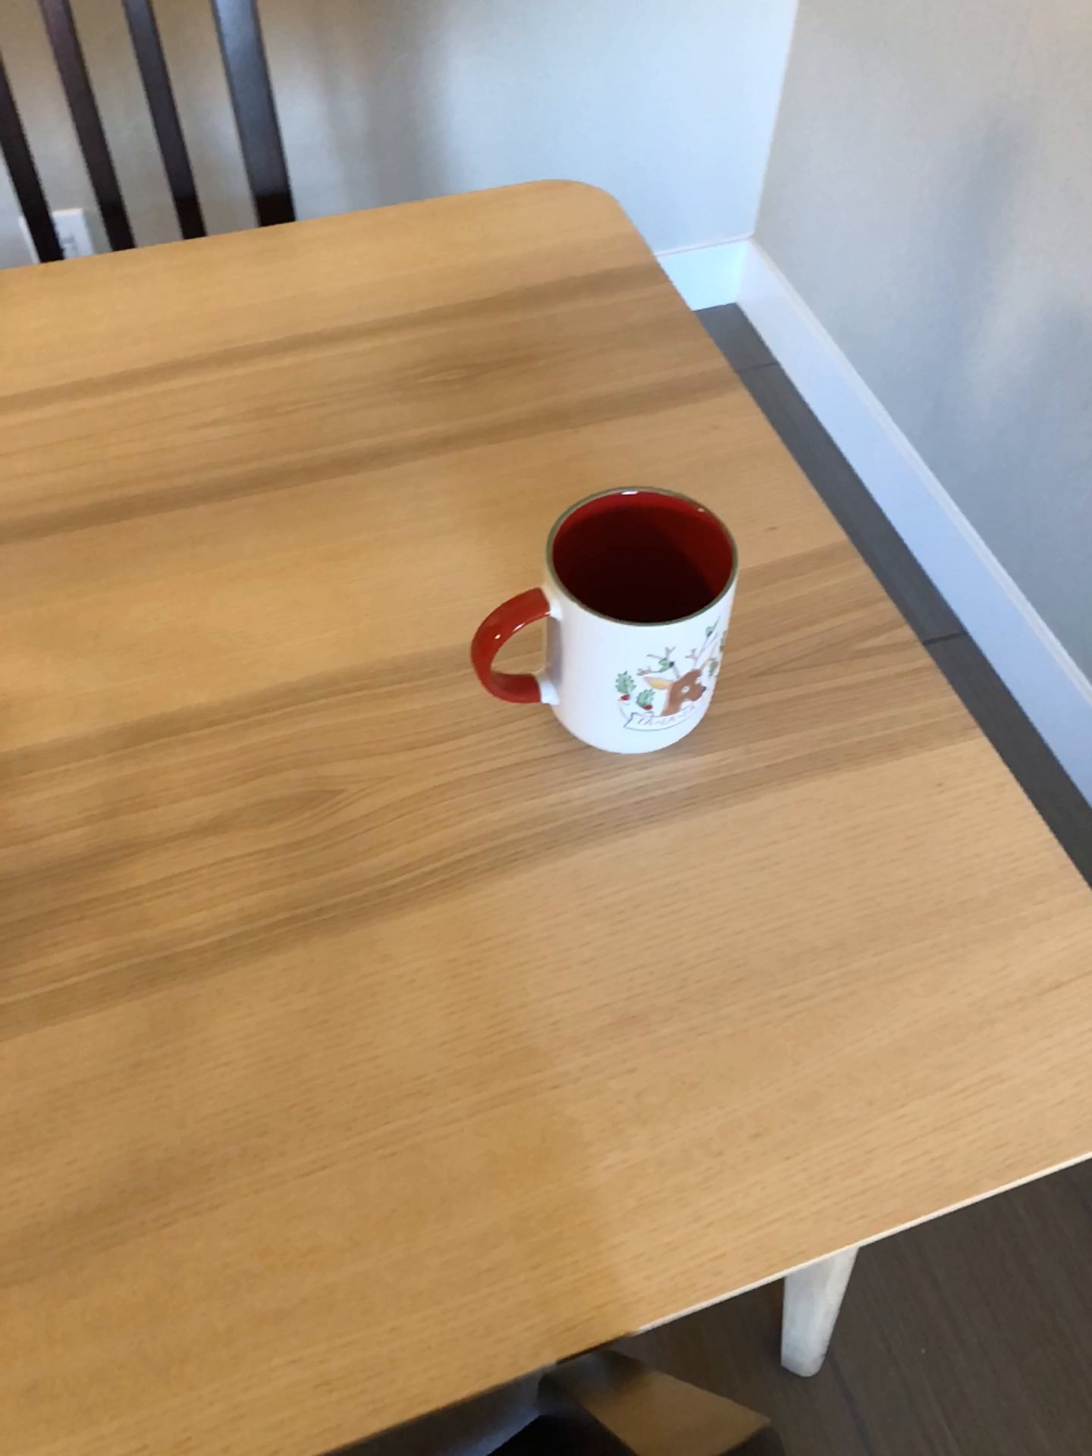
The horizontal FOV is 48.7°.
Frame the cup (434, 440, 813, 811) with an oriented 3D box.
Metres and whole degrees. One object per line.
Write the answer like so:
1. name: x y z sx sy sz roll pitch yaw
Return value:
1. cup: 0.033 -0.051 0.582 0.140 0.100 0.100 -21 56 -16
